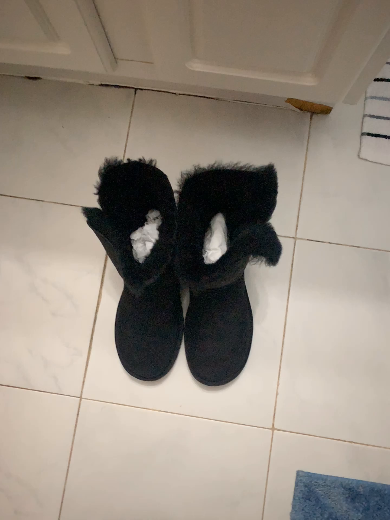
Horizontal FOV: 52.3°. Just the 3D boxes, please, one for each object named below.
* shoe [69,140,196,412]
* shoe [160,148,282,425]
[{"bbox_3d":[-0.065,0.020,0.511,0.120,0.170,0.290,1,84,2],"label":"shoe"},{"bbox_3d":[0.032,0.032,0.506,0.110,0.190,0.280,4,84,2],"label":"shoe"}]
